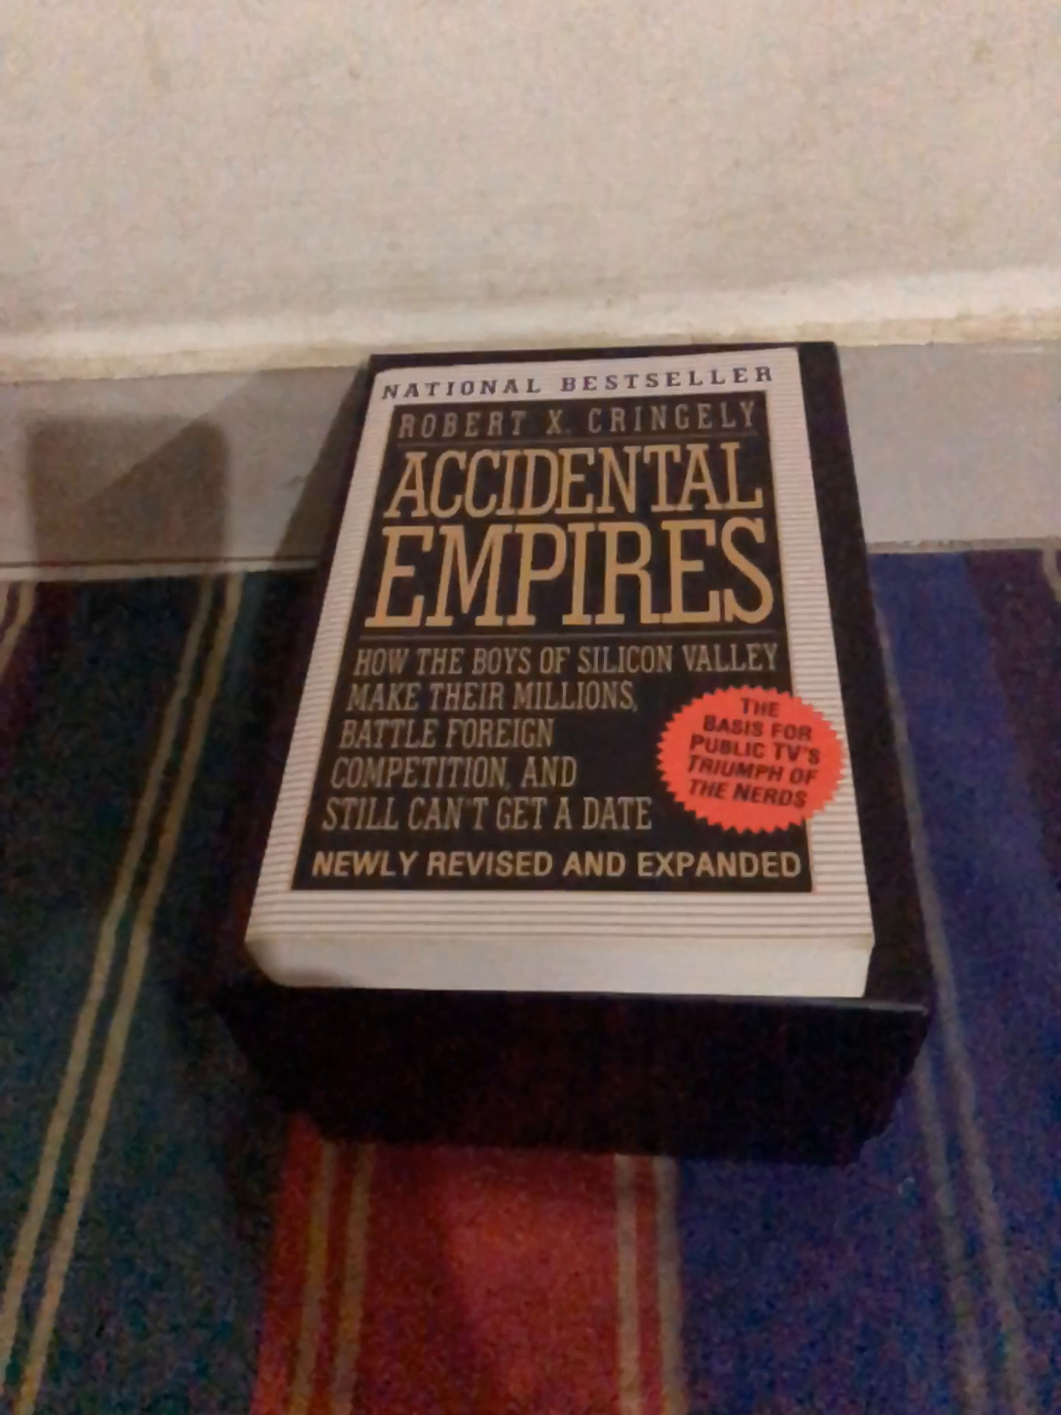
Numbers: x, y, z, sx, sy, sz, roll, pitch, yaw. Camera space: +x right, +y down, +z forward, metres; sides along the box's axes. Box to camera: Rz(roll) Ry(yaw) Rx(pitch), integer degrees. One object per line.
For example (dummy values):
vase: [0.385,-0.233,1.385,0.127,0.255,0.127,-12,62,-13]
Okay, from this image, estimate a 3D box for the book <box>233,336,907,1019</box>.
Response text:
book: [0.013,-0.020,0.303,0.130,0.040,0.191,0,51,6]
